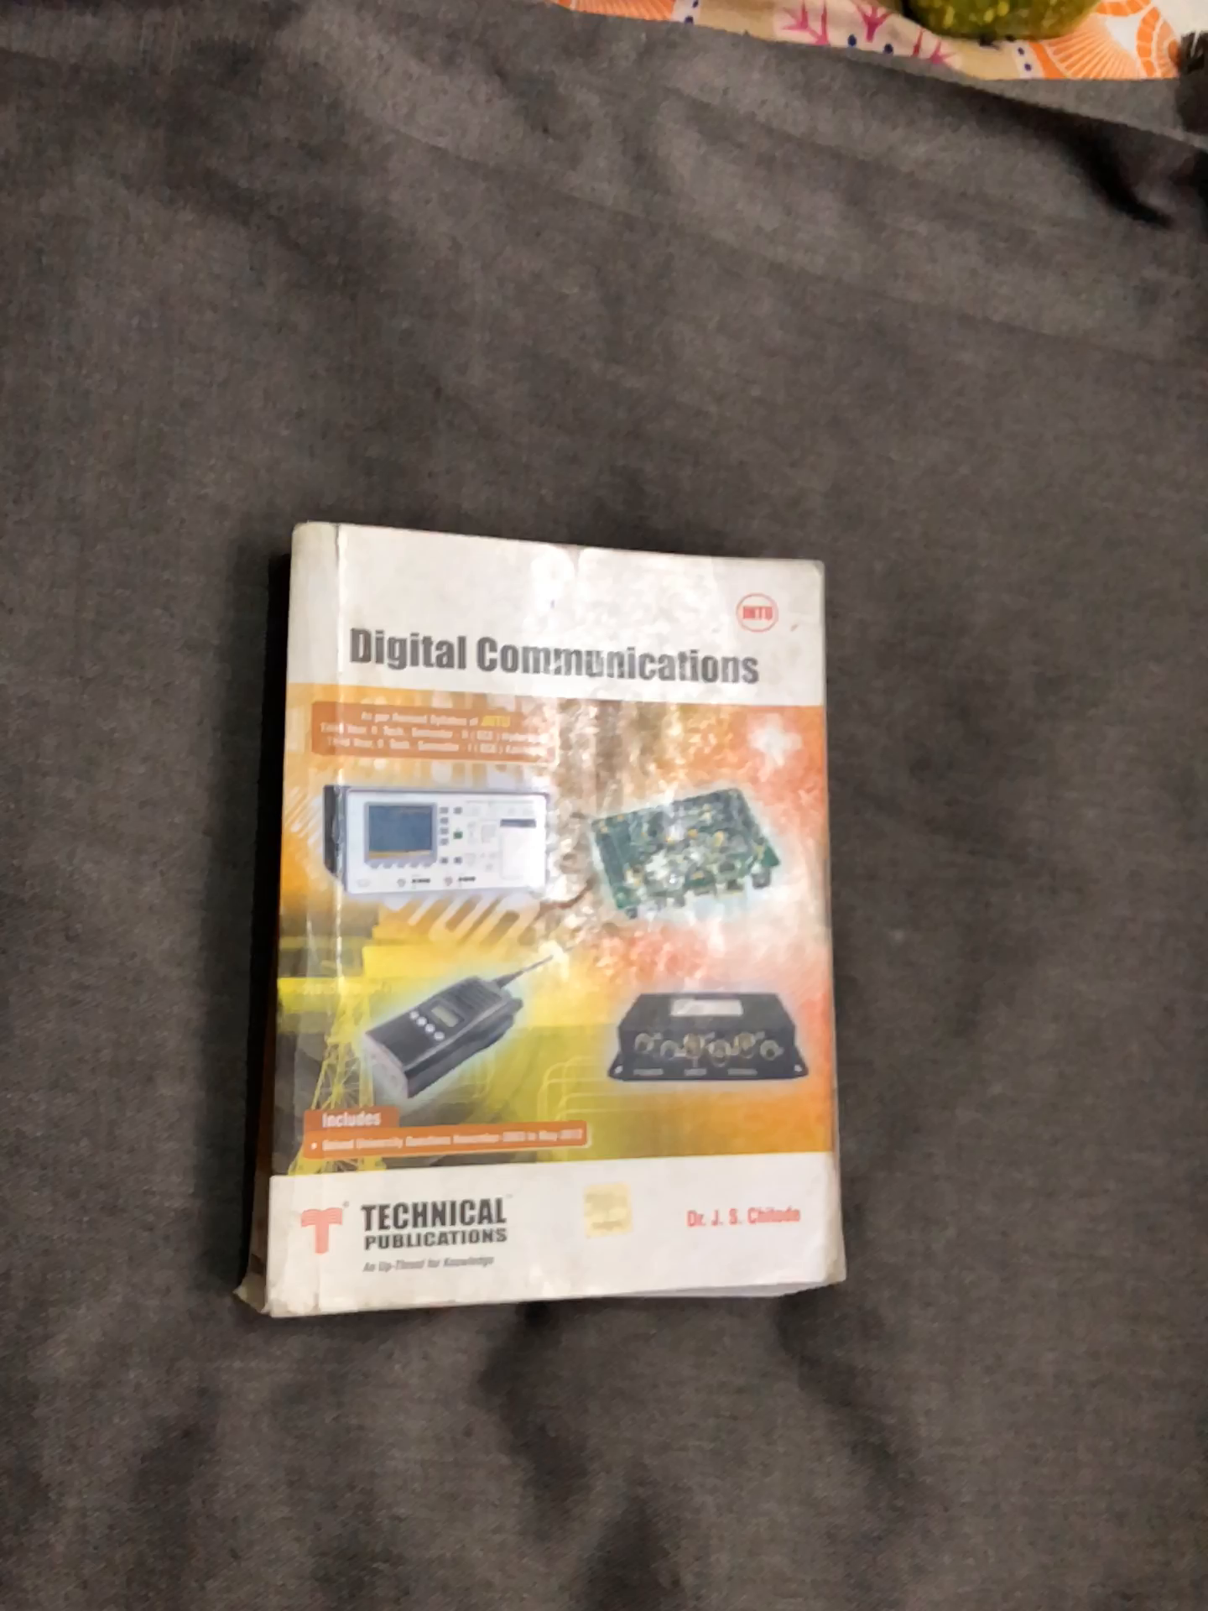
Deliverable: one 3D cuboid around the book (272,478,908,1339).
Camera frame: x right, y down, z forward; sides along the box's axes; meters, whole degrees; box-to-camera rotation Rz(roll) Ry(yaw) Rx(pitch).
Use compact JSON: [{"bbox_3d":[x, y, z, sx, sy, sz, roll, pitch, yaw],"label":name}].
[{"bbox_3d":[-0.003,0.031,0.420,0.181,0.050,0.241,3,81,-11],"label":"book"}]
